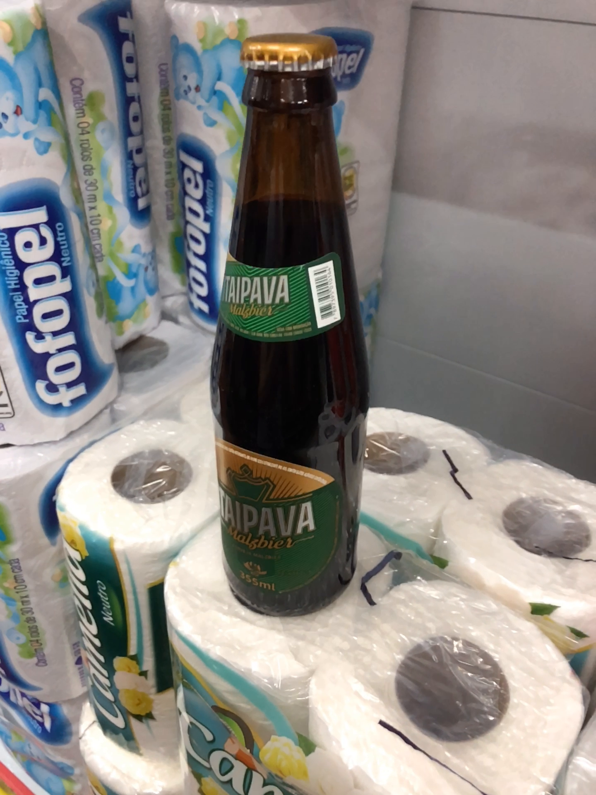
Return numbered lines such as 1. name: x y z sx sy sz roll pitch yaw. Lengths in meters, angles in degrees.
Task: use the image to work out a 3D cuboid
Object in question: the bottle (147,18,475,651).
1. bottle: 0.004 -0.010 0.246 0.070 0.218 0.060 19 39 23
